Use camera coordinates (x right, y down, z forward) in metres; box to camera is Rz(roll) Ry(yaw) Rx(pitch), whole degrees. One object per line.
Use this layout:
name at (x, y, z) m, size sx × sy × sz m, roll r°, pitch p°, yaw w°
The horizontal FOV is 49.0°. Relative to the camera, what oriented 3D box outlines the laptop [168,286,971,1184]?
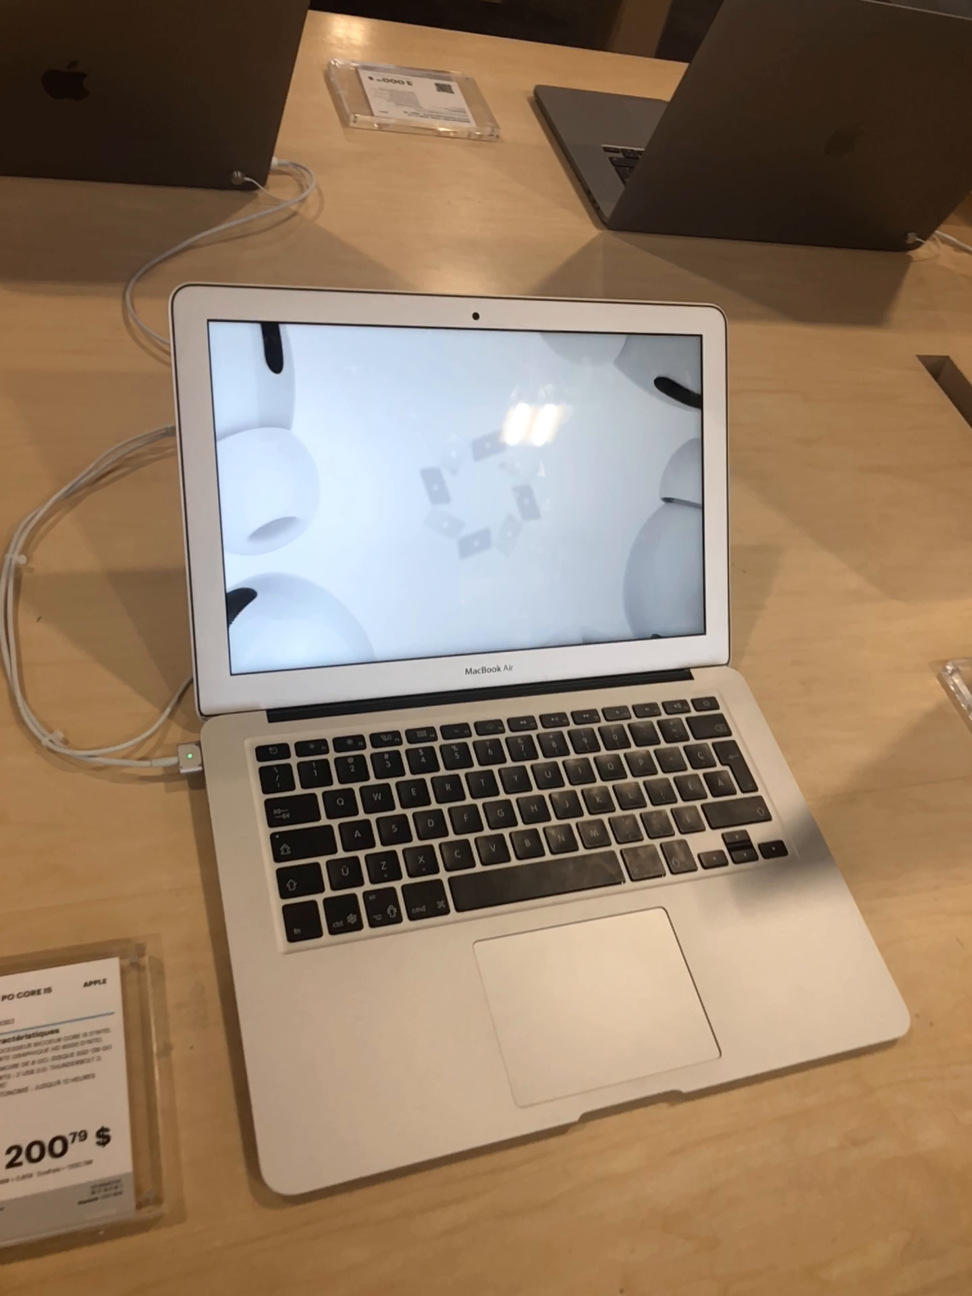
laptop at (0.025, 0.006, 0.513) m, size 0.303 × 0.137 × 0.371 m, roll -4°, pitch 54°, yaw -21°
